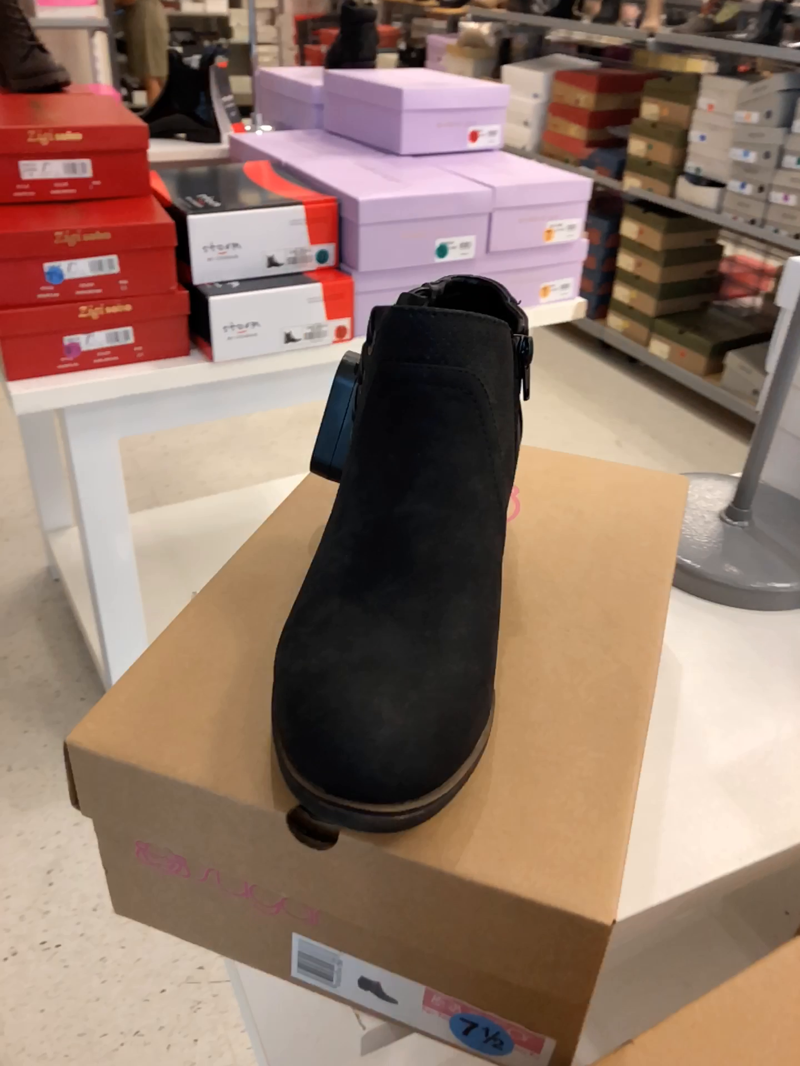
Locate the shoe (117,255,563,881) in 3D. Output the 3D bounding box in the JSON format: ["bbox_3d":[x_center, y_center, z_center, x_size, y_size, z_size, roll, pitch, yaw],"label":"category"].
[{"bbox_3d":[0.000,-0.015,0.366,0.100,0.119,0.262,9,34,9],"label":"shoe"}]
